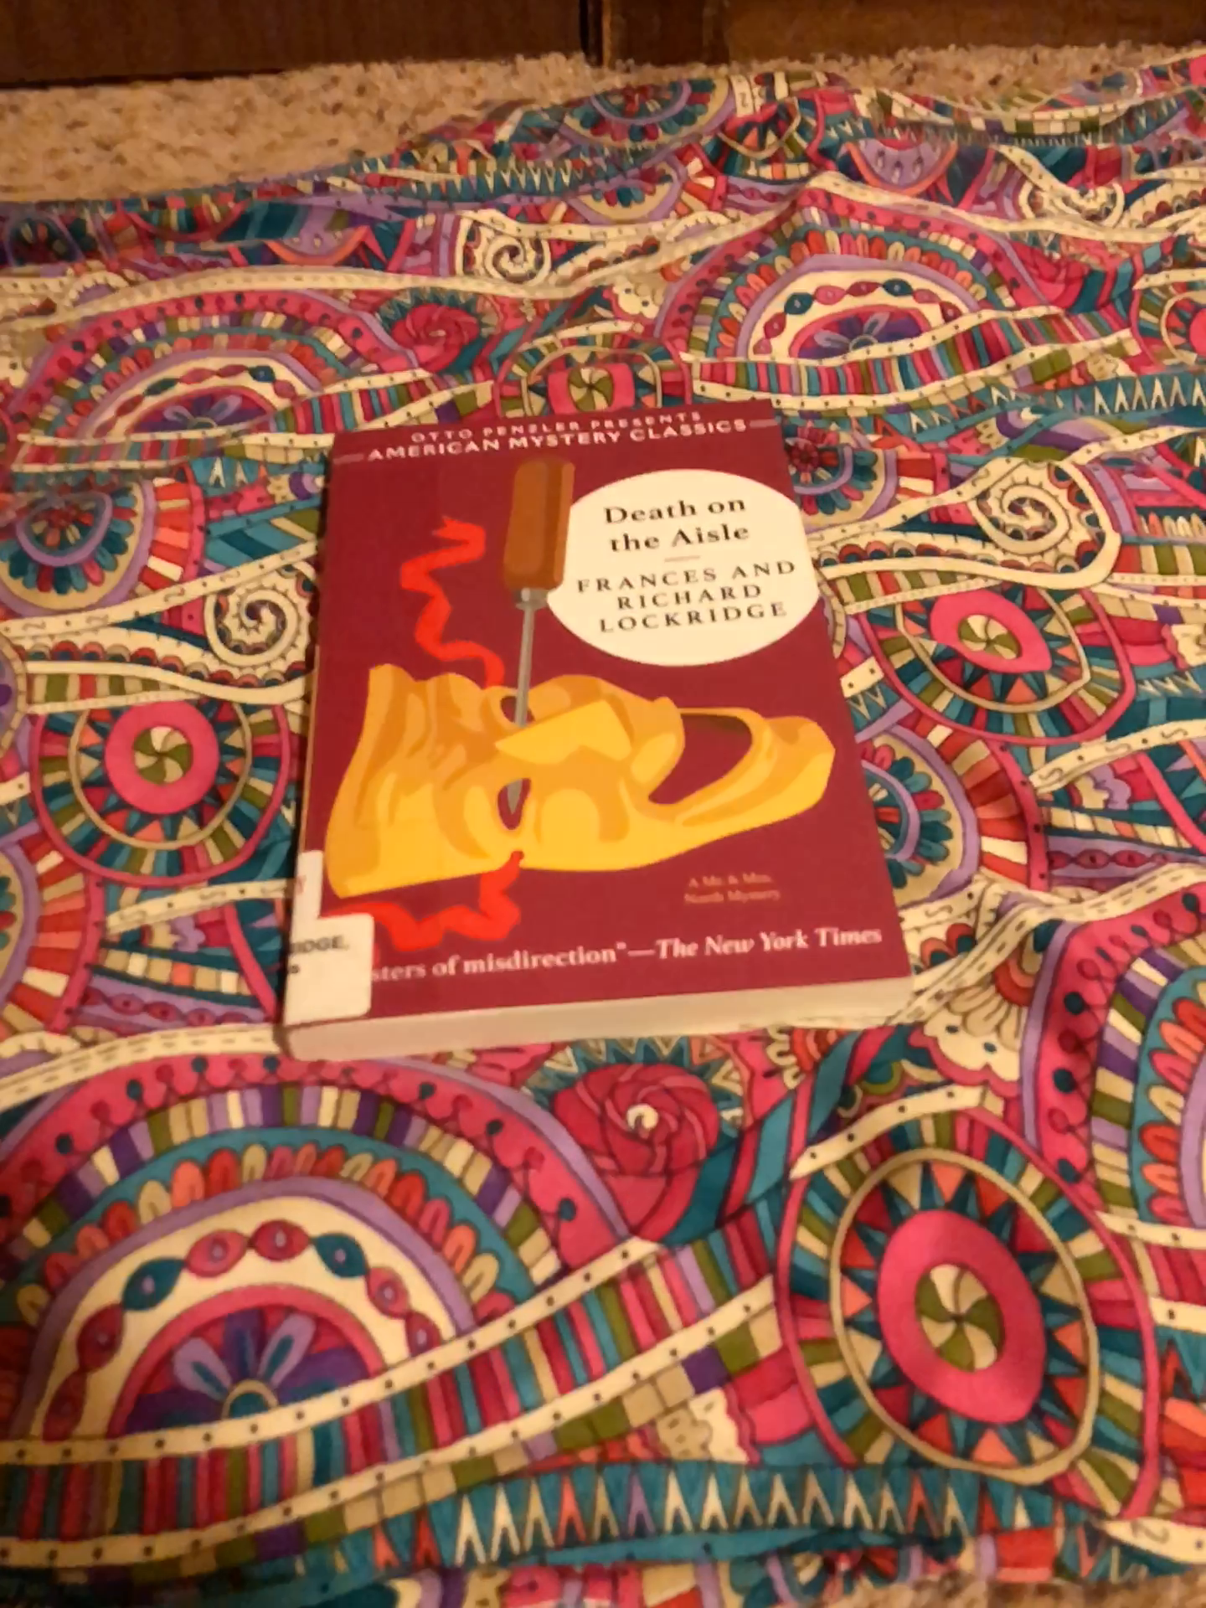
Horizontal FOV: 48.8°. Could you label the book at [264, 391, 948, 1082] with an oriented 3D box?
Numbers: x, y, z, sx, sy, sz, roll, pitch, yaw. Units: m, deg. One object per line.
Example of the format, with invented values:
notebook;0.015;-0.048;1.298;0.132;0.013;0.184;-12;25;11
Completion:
book;-0.006;-0.030;0.335;0.137;0.024;0.196;-4;53;-2
